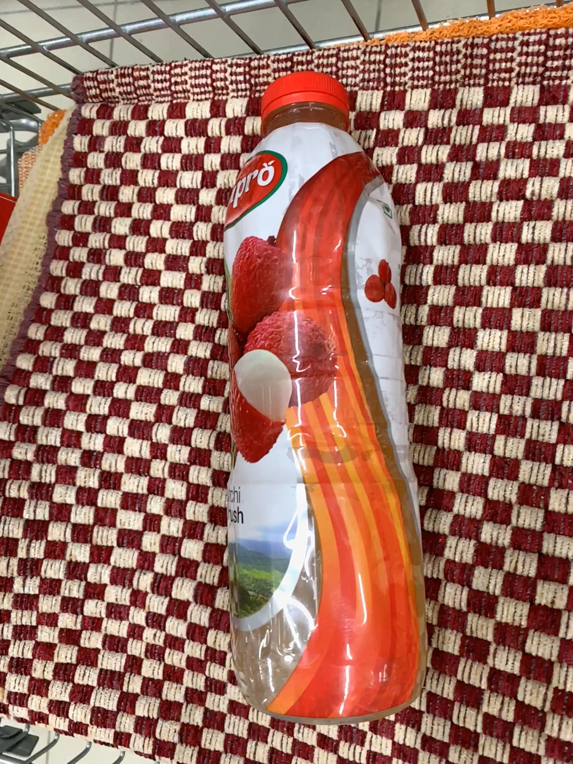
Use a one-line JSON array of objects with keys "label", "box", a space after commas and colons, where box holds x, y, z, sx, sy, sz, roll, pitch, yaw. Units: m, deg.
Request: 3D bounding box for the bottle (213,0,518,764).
[{"label": "bottle", "box": [0.023, -0.004, 0.226, 0.080, 0.070, 0.240, 0, 85, -21]}]
